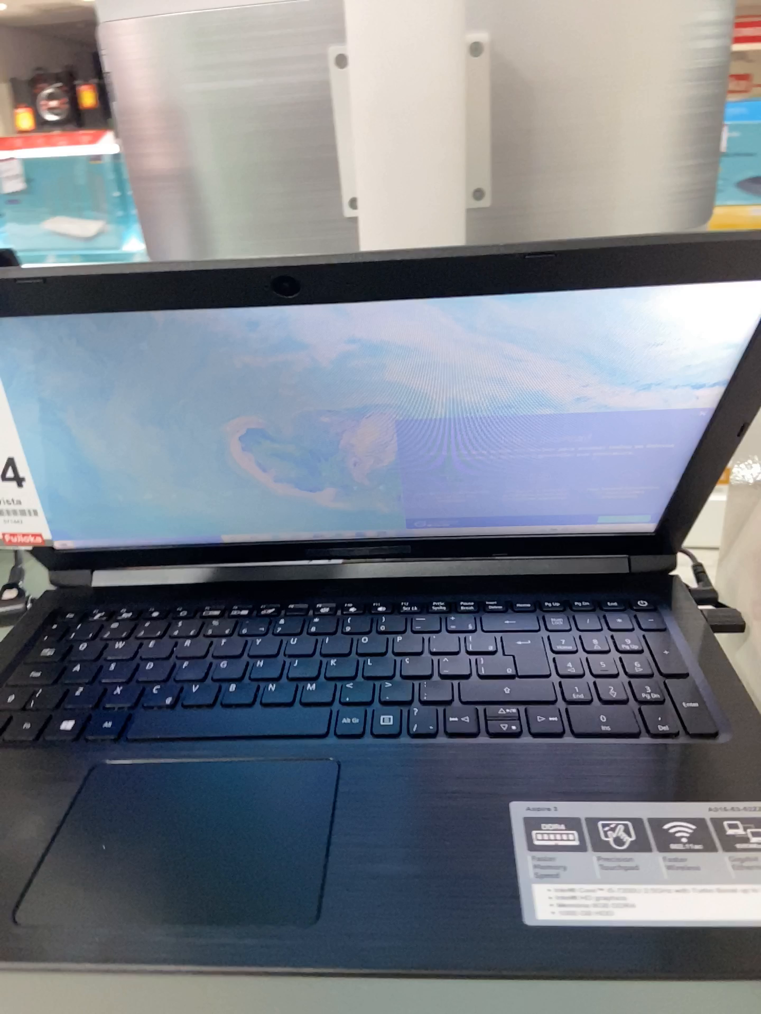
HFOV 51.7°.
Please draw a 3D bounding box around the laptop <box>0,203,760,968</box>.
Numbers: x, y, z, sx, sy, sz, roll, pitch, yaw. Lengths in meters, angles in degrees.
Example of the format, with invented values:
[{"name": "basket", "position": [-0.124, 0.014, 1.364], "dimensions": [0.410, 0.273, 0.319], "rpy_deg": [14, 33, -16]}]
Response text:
[{"name": "laptop", "position": [-0.027, 0.005, 0.314], "dimensions": [0.367, 0.193, 0.235], "rpy_deg": [-3, 24, 5]}]
